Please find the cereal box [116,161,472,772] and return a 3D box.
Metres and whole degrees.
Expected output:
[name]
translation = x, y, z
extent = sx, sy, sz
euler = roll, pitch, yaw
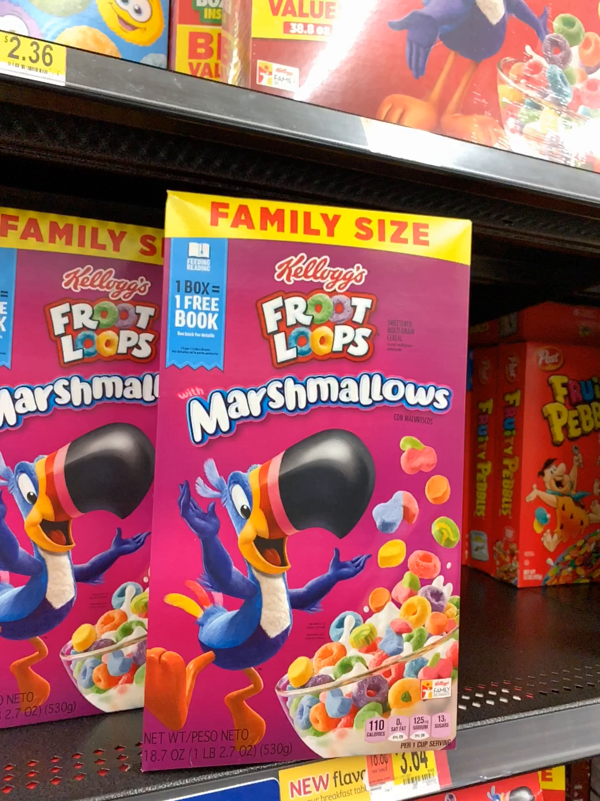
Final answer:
[cereal box]
translation = -0.004, 0.039, 0.405
extent = 0.200, 0.340, 0.080
euler = 3, -2, -11
